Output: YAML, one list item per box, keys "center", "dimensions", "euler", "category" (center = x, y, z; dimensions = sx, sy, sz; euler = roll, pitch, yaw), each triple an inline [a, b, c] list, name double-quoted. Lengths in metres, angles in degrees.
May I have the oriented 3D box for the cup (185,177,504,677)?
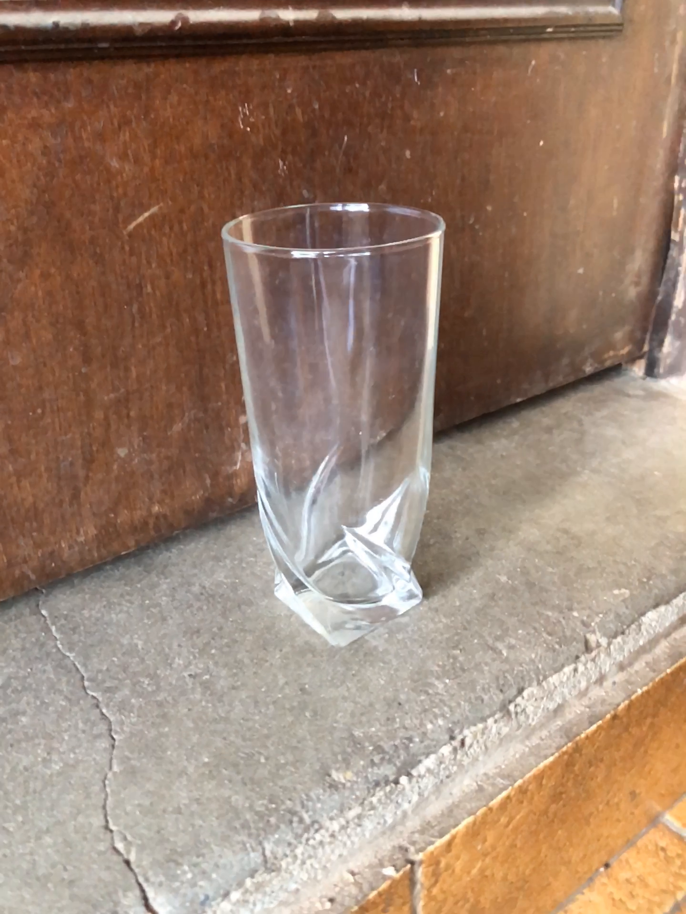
- center: [0.002, -0.012, 0.253]
  dimensions: [0.070, 0.139, 0.060]
  euler: [-22, 34, -33]
  category: "cup"
